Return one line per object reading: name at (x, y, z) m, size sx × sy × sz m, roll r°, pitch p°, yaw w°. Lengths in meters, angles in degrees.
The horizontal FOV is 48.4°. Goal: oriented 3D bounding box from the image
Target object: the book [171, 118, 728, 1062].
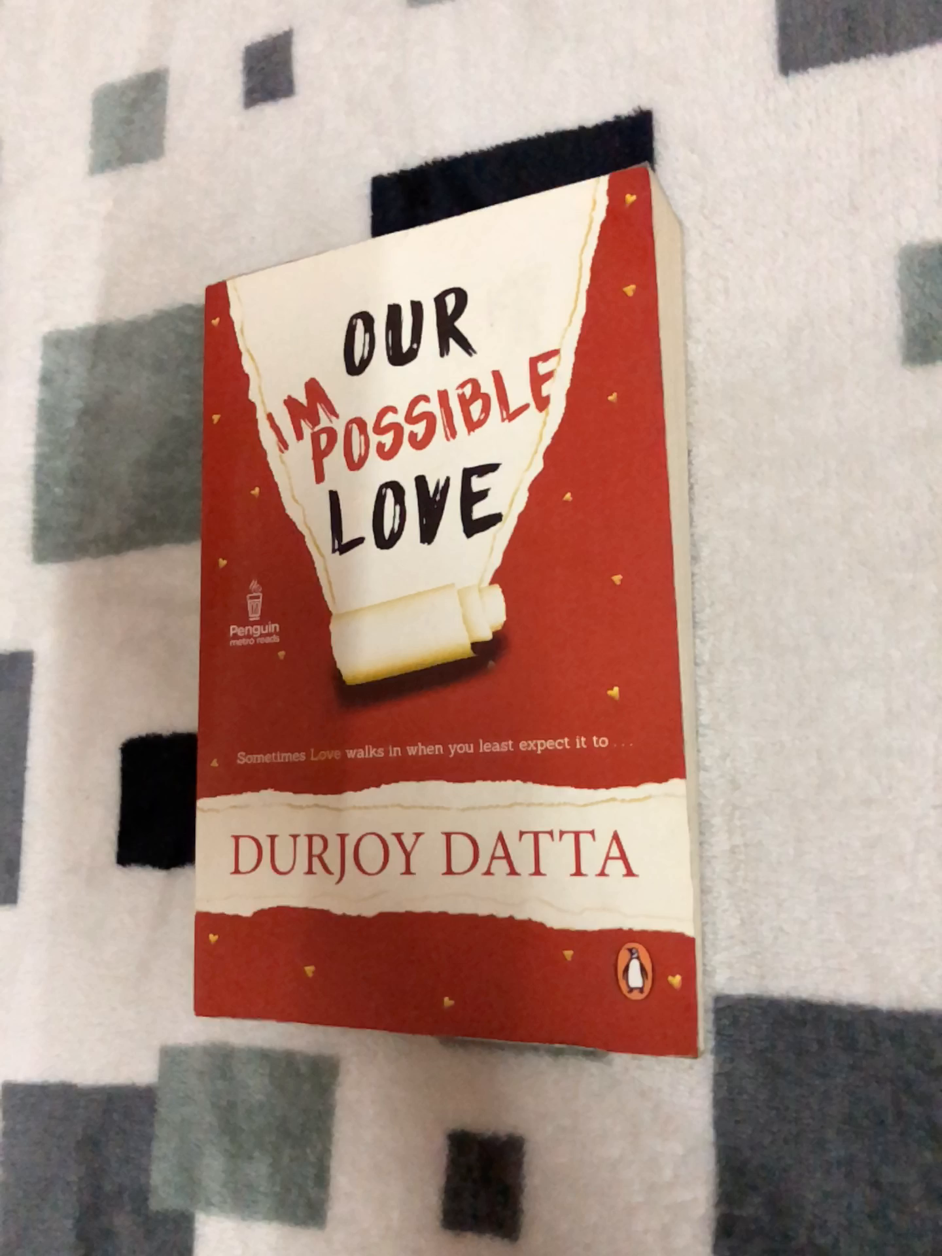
book at (-0.012, -0.007, 0.258) m, size 0.130 × 0.030 × 0.200 m, roll -5°, pitch 83°, yaw 23°
